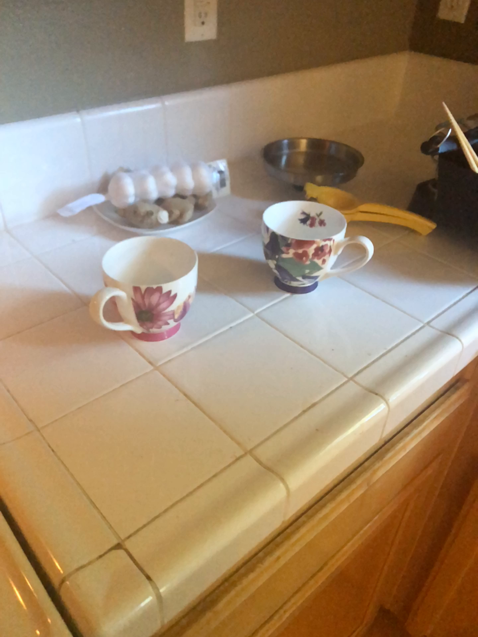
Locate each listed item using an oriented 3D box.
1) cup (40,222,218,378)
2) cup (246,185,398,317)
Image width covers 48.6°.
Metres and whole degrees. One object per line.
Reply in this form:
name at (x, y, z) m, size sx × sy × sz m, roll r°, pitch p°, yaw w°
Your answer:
cup at (-0.116, -0.027, 0.585) m, size 0.110 × 0.079 × 0.151 m, roll 31°, pitch 46°, yaw 31°
cup at (0.104, -0.092, 0.684) m, size 0.150 × 0.089 × 0.111 m, roll 25°, pitch 43°, yaw 26°
